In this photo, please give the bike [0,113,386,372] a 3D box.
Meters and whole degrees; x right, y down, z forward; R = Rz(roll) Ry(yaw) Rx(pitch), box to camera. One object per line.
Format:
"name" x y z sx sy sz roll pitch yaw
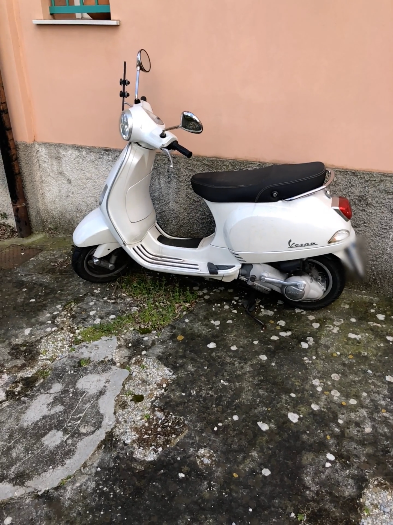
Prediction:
"bike" -0.025 -0.137 2.245 1.657 1.085 0.647 4 27 12
